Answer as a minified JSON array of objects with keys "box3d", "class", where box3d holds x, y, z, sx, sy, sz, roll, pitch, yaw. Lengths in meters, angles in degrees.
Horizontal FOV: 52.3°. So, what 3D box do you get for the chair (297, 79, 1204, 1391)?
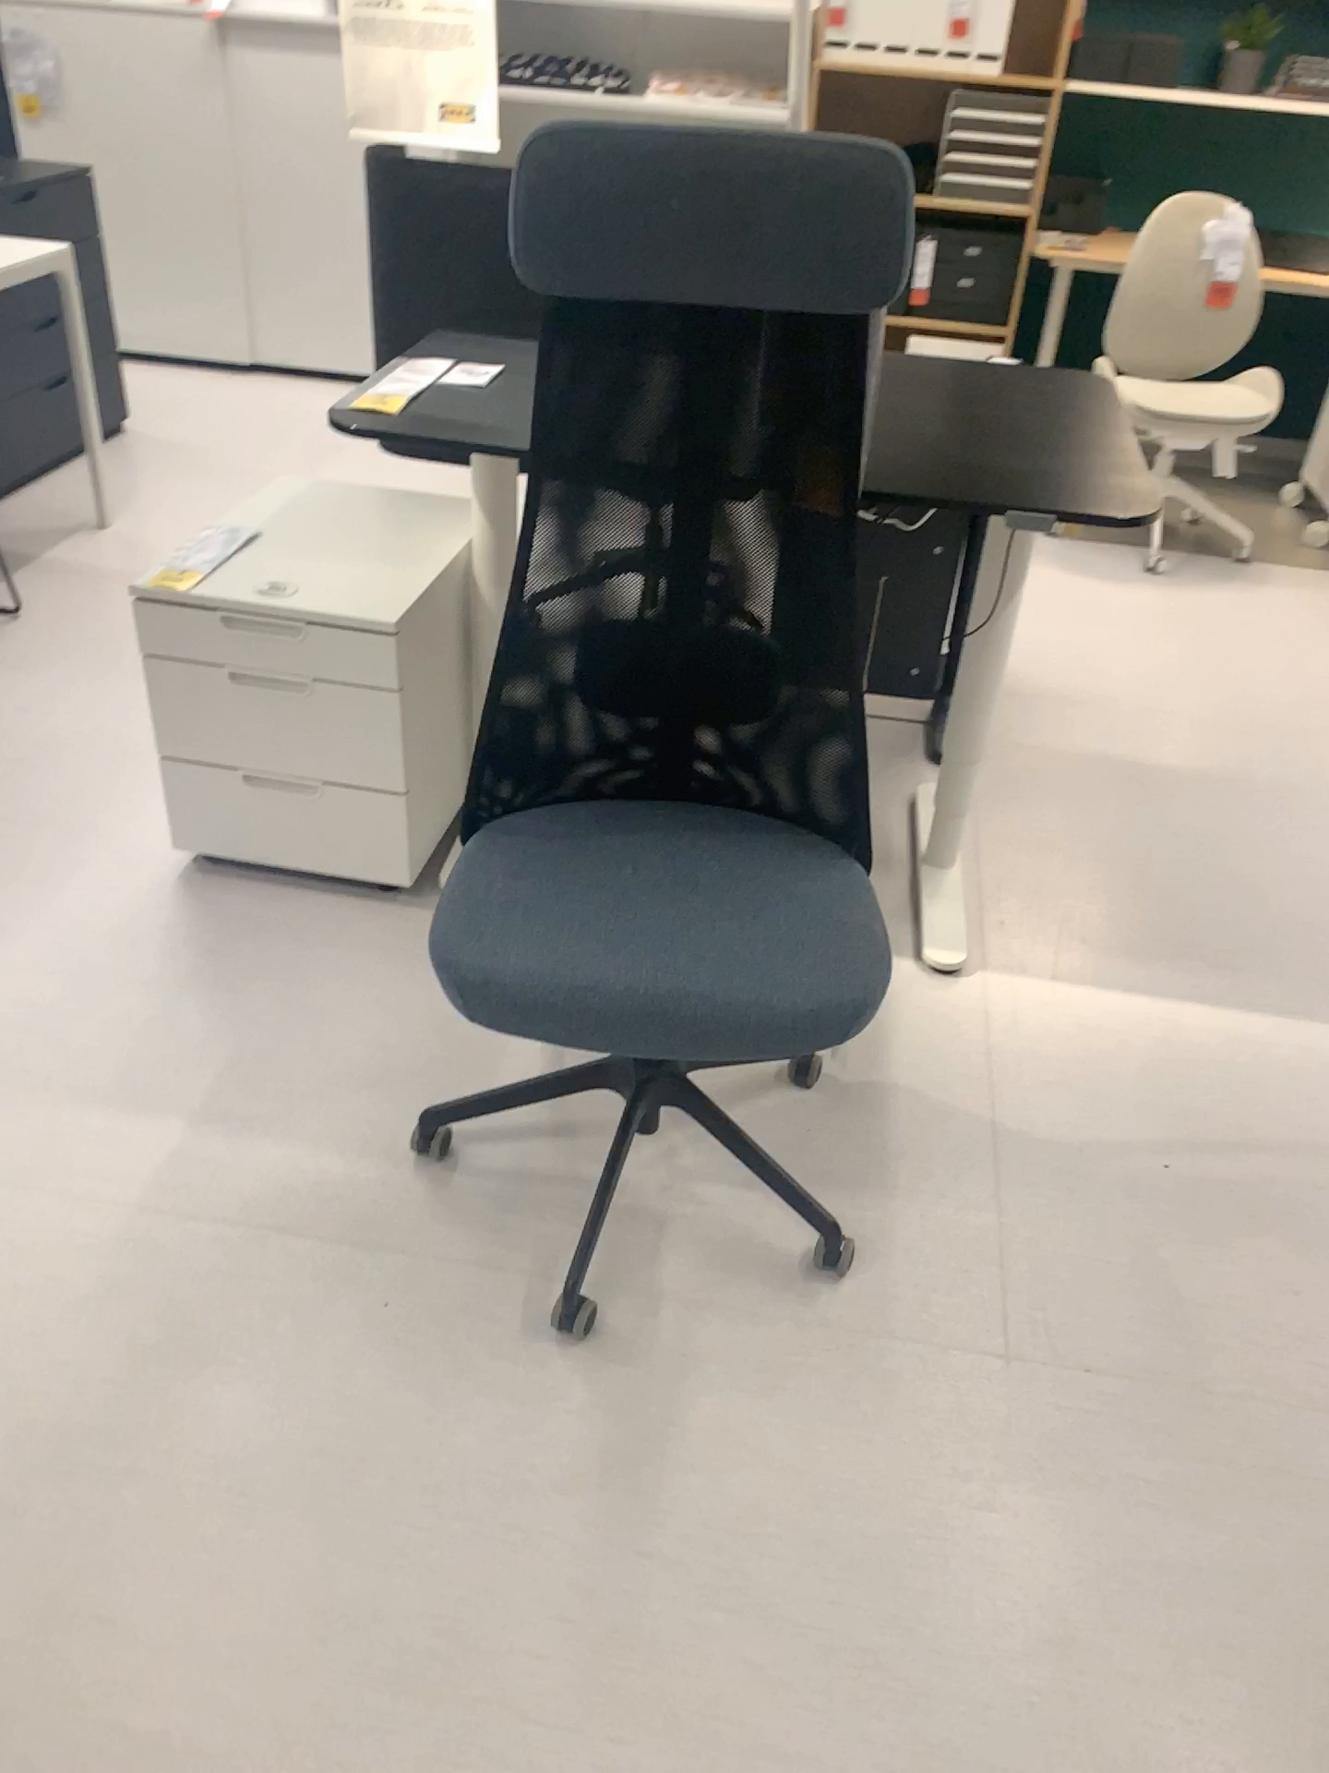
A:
[{"box3d":[0.046,-0.162,1.614,0.640,1.304,0.733,6,33,2],"class":"chair"}]
